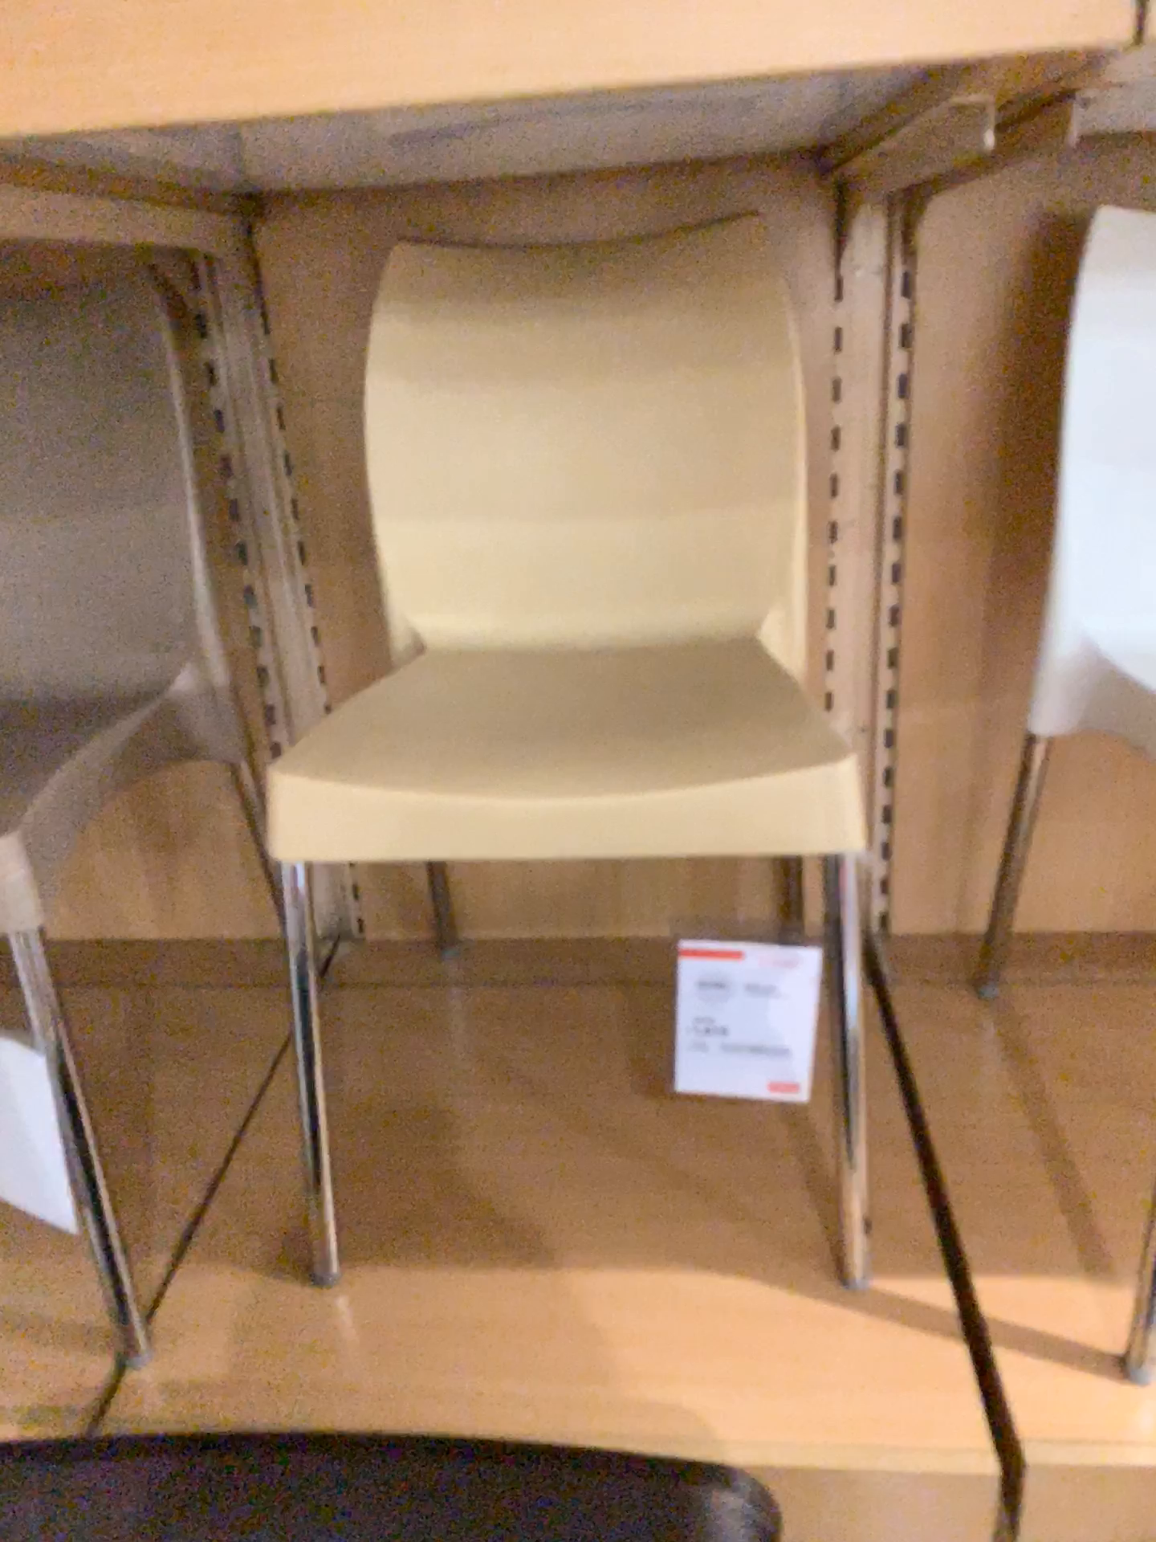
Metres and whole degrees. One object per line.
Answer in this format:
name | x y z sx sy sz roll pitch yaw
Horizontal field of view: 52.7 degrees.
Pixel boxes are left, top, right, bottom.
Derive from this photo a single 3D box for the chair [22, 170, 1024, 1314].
chair | -0.012 -0.059 1.054 0.540 0.807 0.592 0 23 3
